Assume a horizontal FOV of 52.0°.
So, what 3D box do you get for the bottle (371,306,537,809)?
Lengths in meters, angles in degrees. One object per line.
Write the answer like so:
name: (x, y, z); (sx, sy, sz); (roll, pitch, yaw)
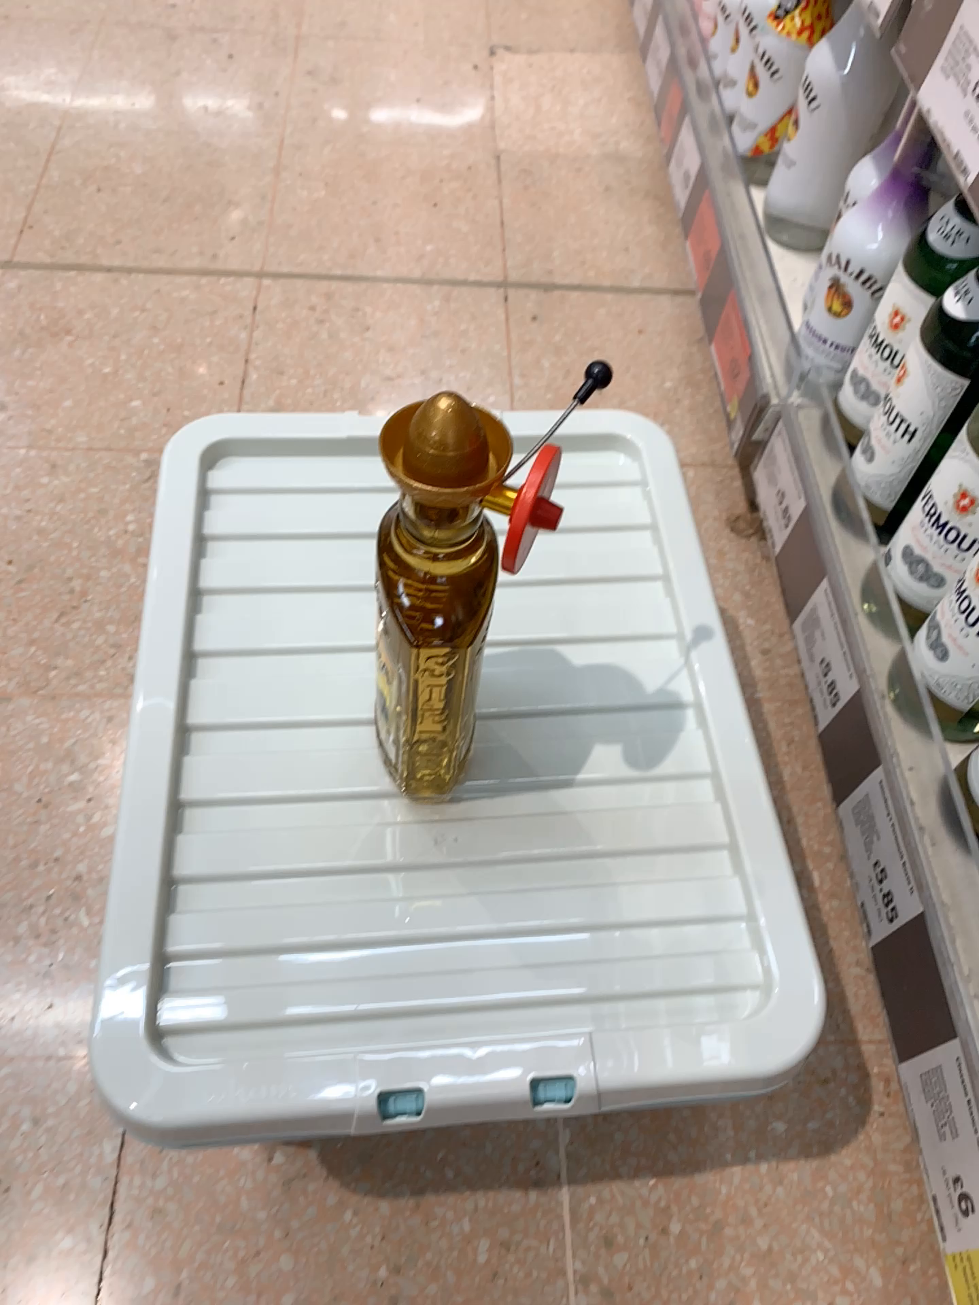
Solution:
bottle: (-0.024, -0.027, 0.486); (0.058, 0.258, 0.101); (-1, 56, -6)
